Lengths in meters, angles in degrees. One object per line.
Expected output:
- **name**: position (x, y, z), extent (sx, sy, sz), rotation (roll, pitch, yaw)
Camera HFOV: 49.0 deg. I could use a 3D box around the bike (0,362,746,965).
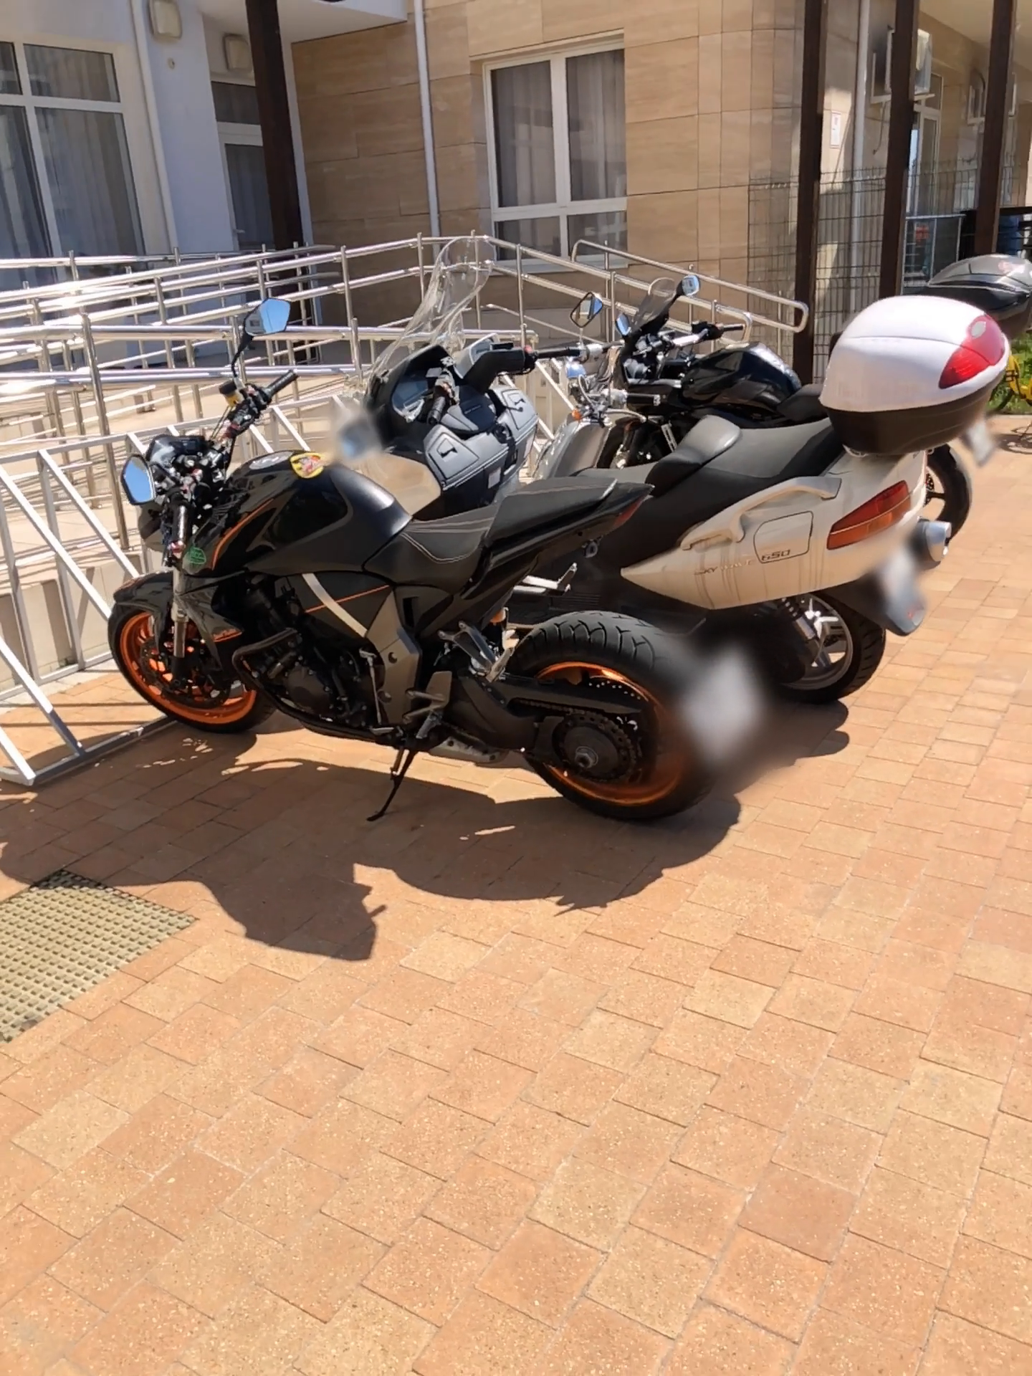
- **bike**: position (-0.439, -0.230, 3.035), extent (1.951, 1.170, 0.798), rotation (9, 23, 29)
